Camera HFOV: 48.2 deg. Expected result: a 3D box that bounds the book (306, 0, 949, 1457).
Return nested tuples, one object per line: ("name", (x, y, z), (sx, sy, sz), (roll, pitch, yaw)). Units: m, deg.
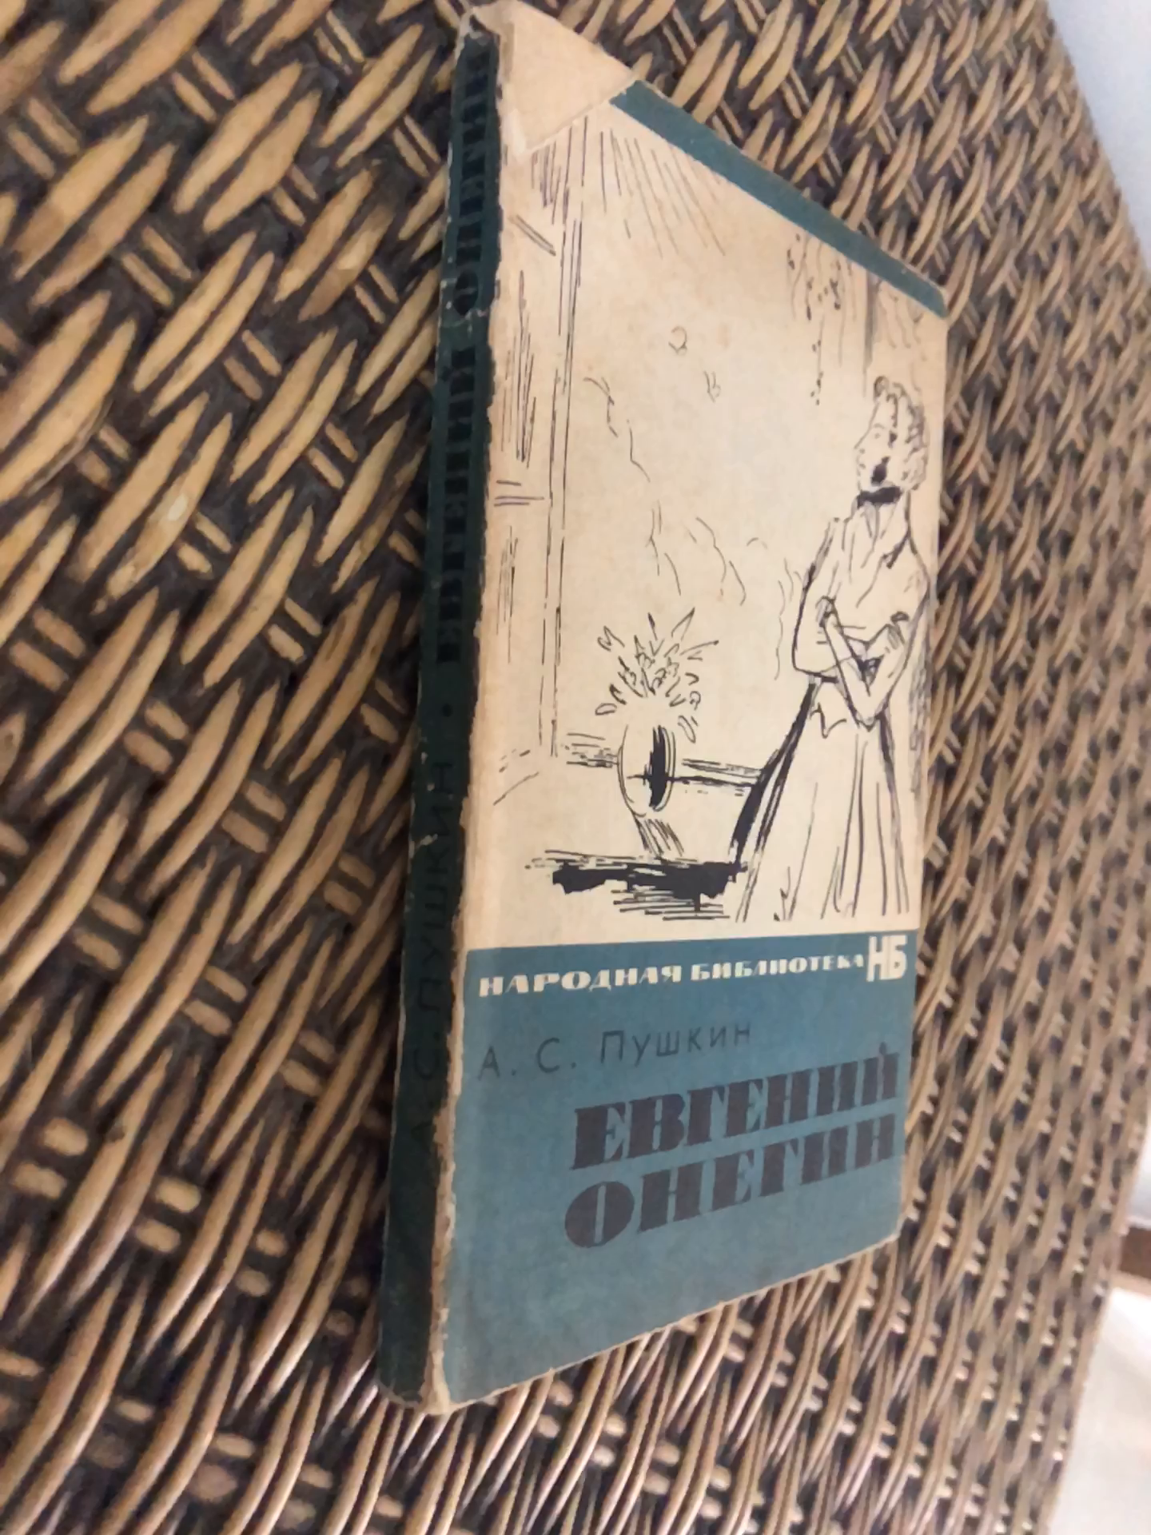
("book", (0.019, -0.006, 0.212), (0.121, 0.020, 0.190), (6, 86, -46))
